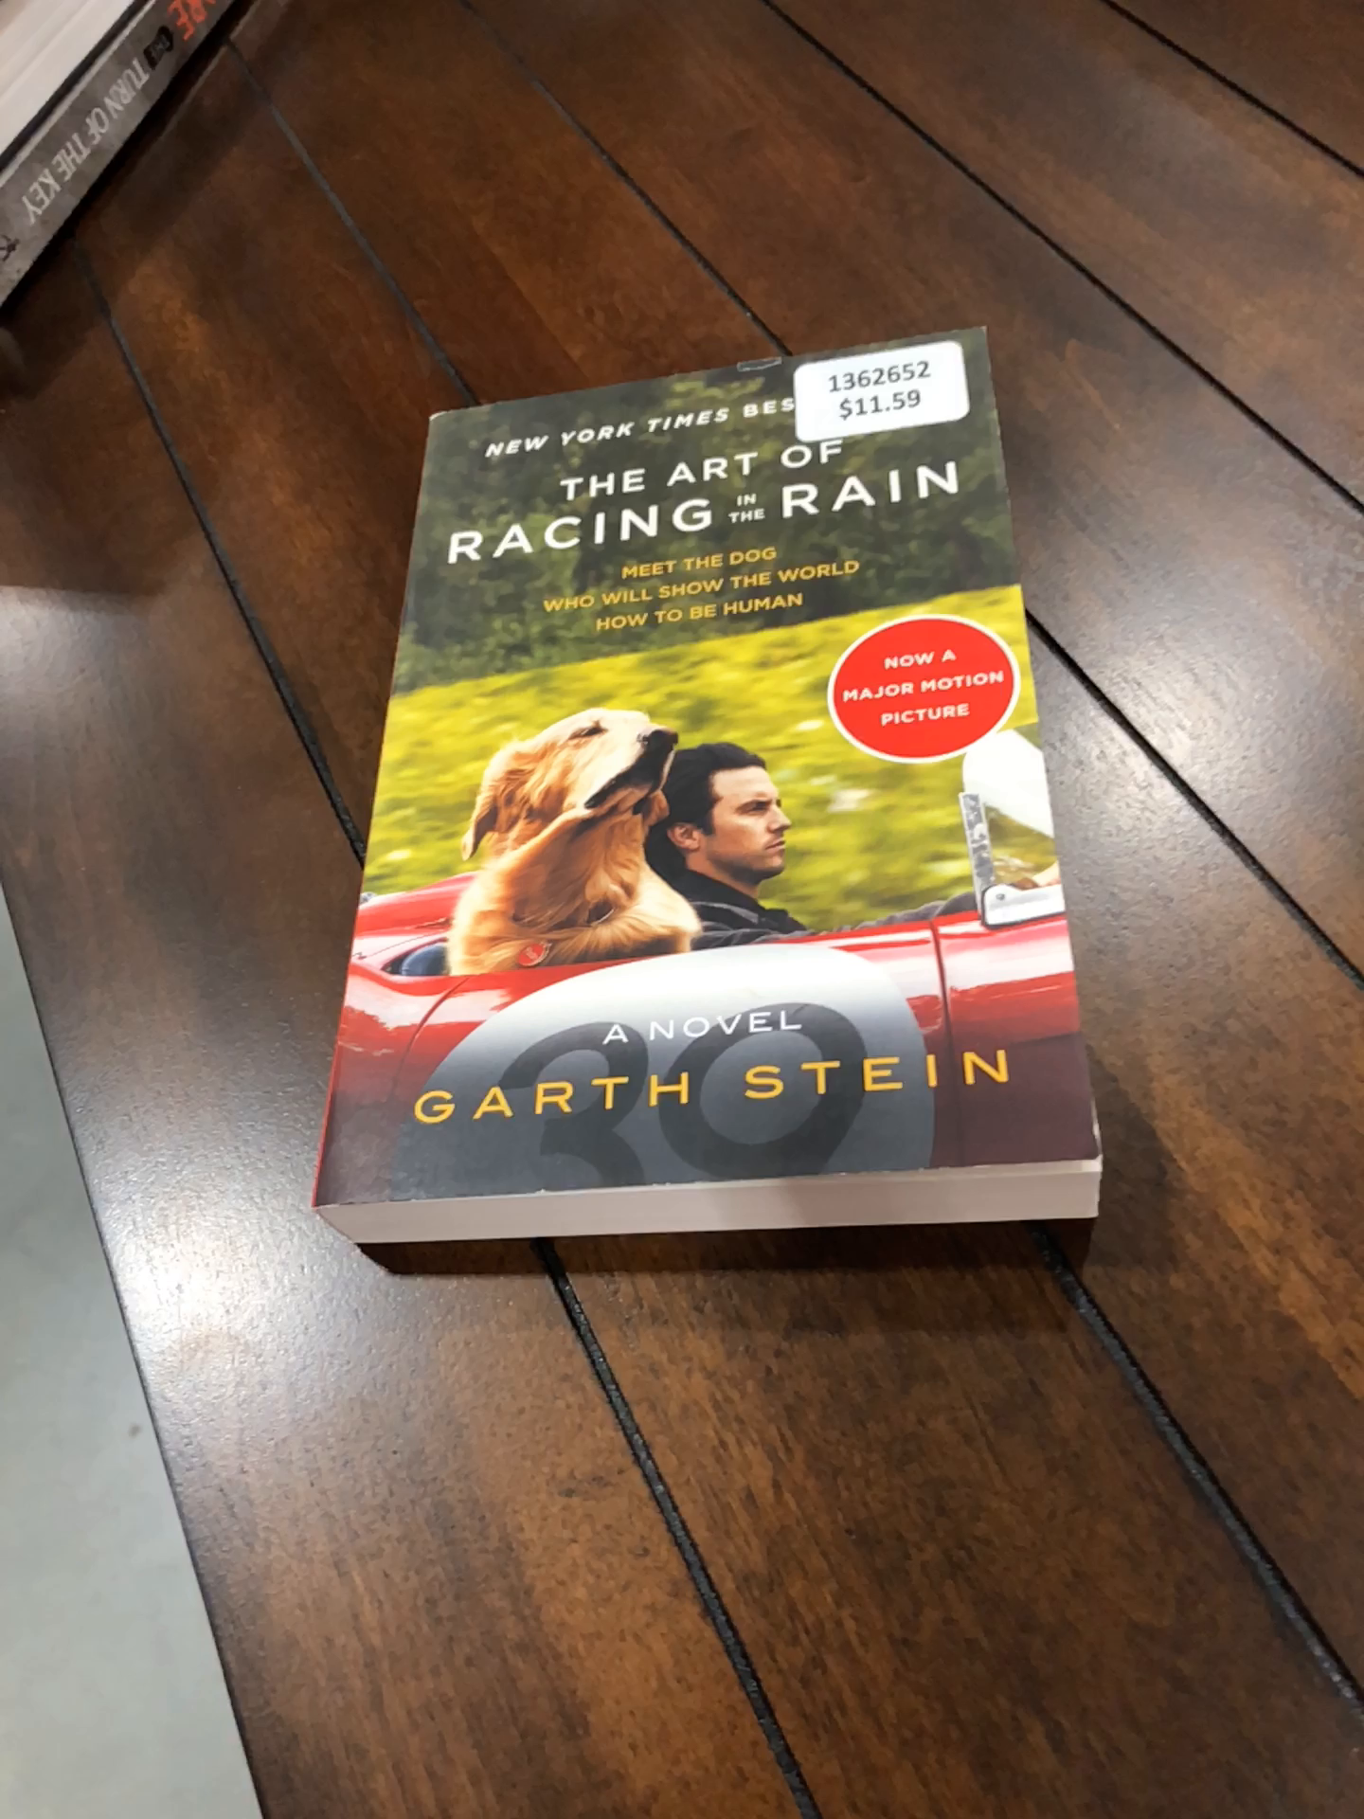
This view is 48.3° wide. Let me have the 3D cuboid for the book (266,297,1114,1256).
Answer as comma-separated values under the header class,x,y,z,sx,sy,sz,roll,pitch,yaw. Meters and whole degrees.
class,x,y,z,sx,sy,sz,roll,pitch,yaw
book,0.002,-0.038,0.314,0.140,0.028,0.210,-5,57,10
